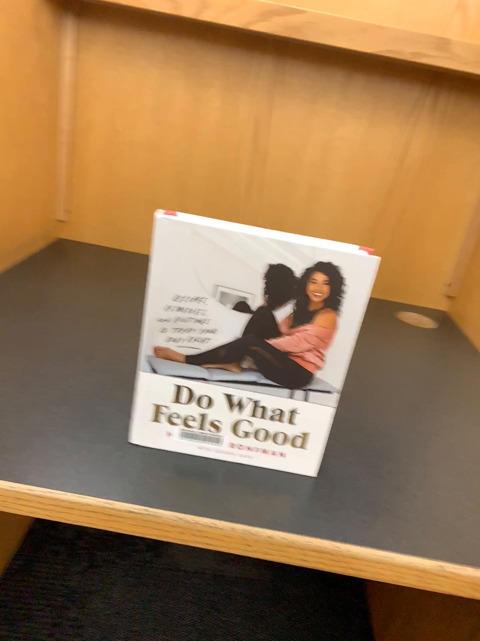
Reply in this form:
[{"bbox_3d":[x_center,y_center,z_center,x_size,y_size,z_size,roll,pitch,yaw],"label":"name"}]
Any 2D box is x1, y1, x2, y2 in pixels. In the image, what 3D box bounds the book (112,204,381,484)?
[{"bbox_3d":[-0.005,0.033,0.474,0.210,0.249,0.030,10,22,-3],"label":"book"}]
